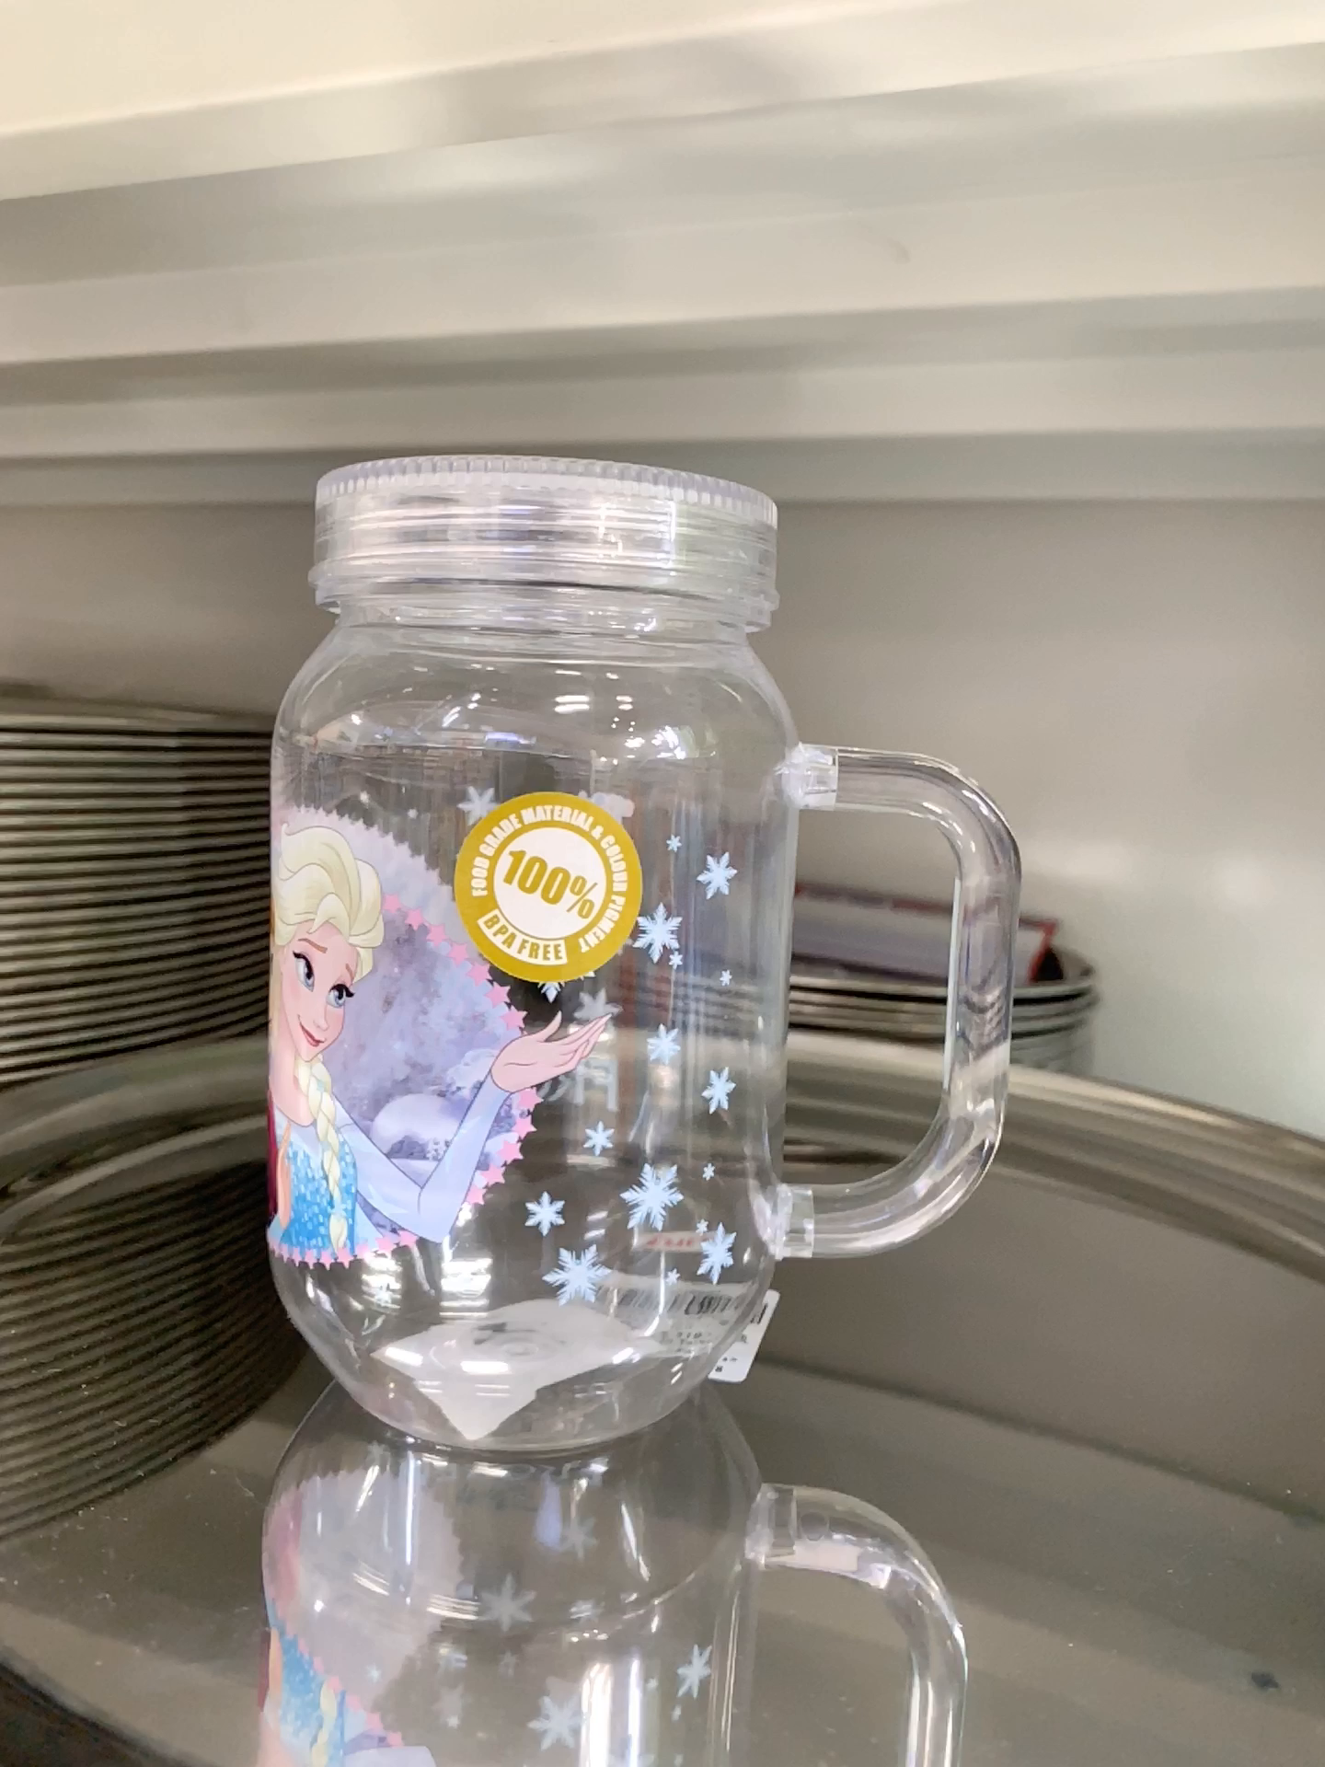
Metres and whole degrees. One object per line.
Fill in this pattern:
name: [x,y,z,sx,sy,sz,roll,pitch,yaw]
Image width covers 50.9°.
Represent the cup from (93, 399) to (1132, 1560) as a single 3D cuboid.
cup: [-0.006,0.006,0.201,0.120,0.130,0.070,4,6,10]
